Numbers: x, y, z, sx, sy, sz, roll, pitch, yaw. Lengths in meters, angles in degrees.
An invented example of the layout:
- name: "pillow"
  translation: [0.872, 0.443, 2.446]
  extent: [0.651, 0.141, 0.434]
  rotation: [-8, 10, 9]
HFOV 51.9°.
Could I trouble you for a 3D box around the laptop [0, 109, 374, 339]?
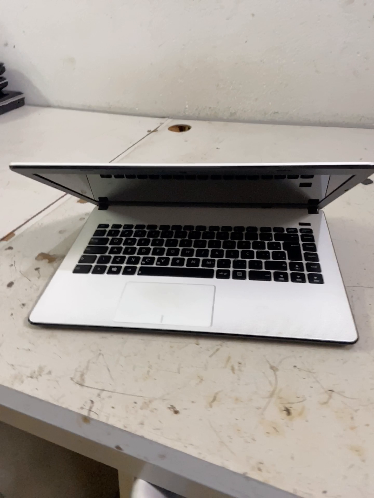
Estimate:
- name: "laptop"
  translation: [0.006, -0.047, 0.447]
  extent: [0.343, 0.141, 0.237]
  rotation: [1, 37, 8]
